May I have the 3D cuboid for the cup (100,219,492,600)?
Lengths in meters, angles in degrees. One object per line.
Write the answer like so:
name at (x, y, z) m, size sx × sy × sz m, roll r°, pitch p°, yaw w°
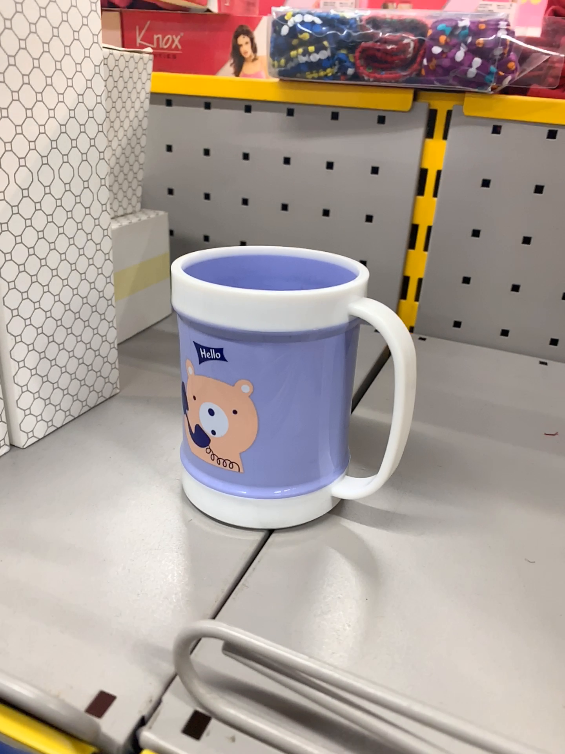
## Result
cup at (0.005, 0.000, 0.242) m, size 0.120 × 0.100 × 0.090 m, roll 17°, pitch 28°, yaw 25°
